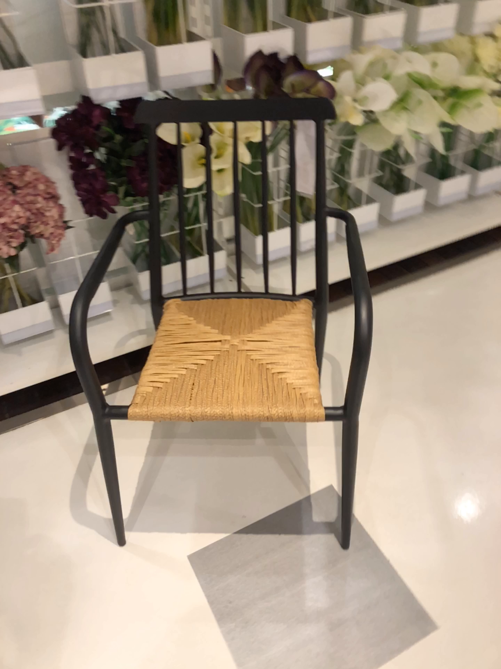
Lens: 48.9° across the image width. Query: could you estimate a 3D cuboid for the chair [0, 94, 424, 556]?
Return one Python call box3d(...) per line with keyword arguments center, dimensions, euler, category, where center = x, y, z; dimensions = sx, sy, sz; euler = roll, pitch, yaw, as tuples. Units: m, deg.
box3d(center=(-0.032, -0.015, 1.156), dimensions=(0.540, 0.754, 0.584), euler=(0, 40, 3), category="chair")
